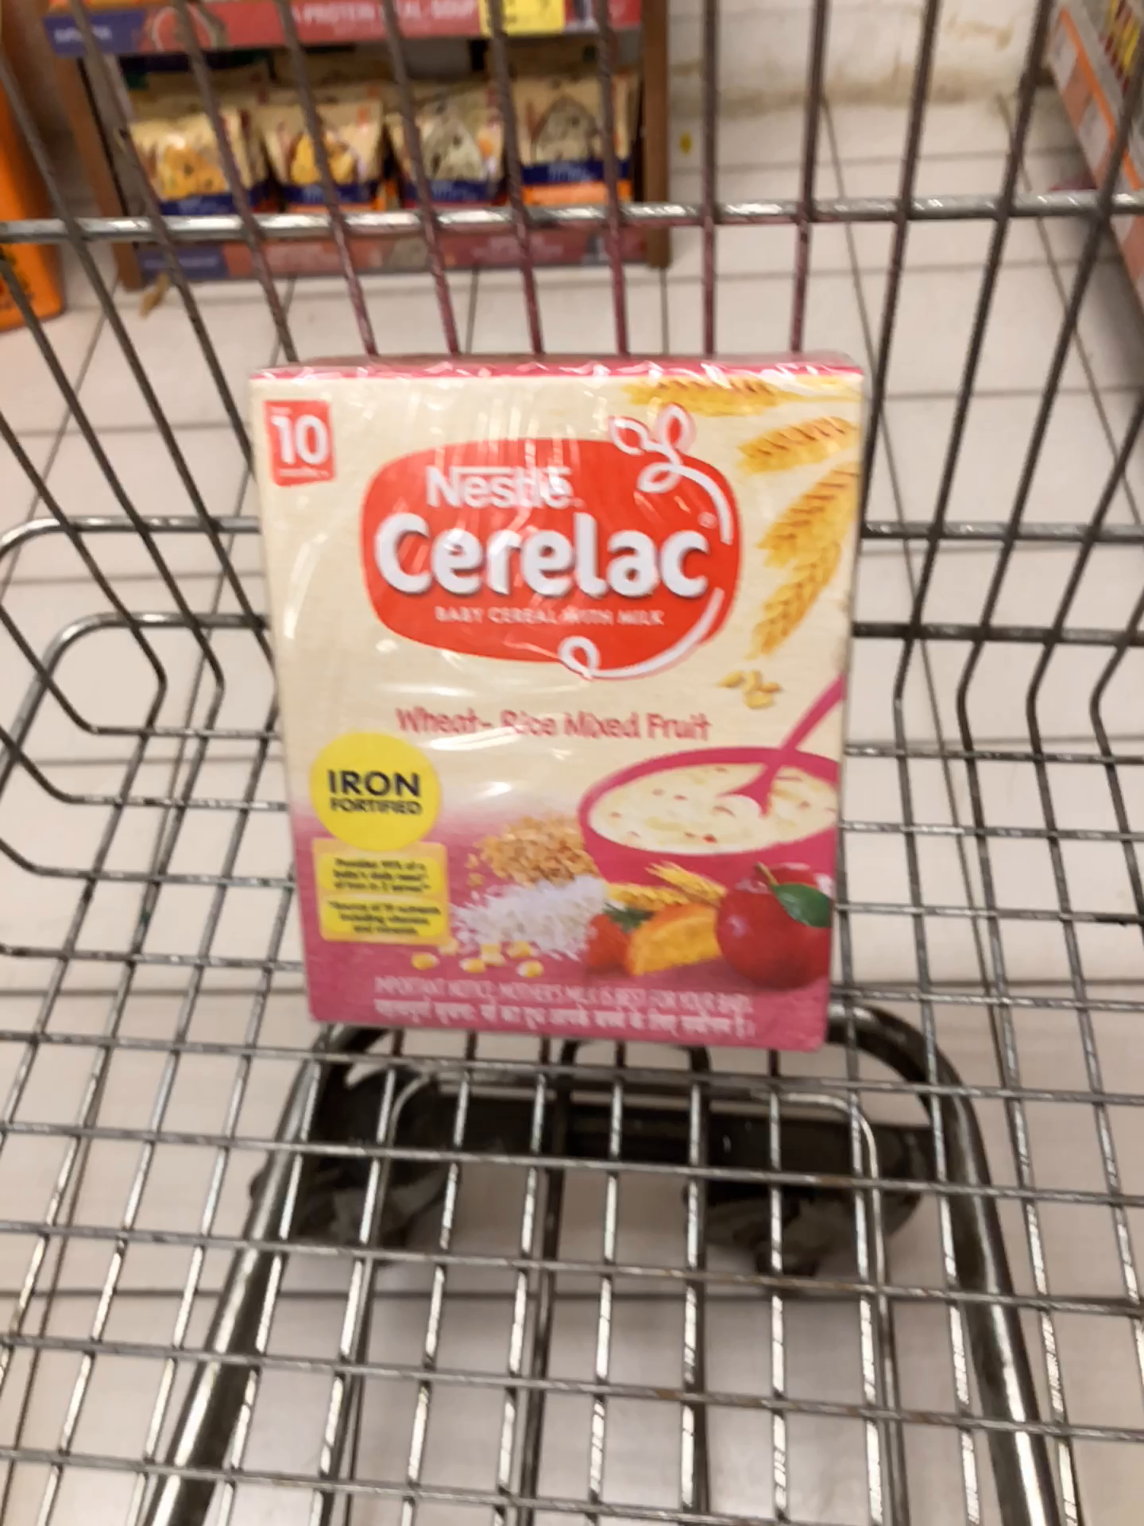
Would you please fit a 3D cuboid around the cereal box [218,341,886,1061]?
[{"bbox_3d":[-0.003,-0.017,0.344,0.150,0.179,0.060,2,21,6],"label":"cereal box"}]
